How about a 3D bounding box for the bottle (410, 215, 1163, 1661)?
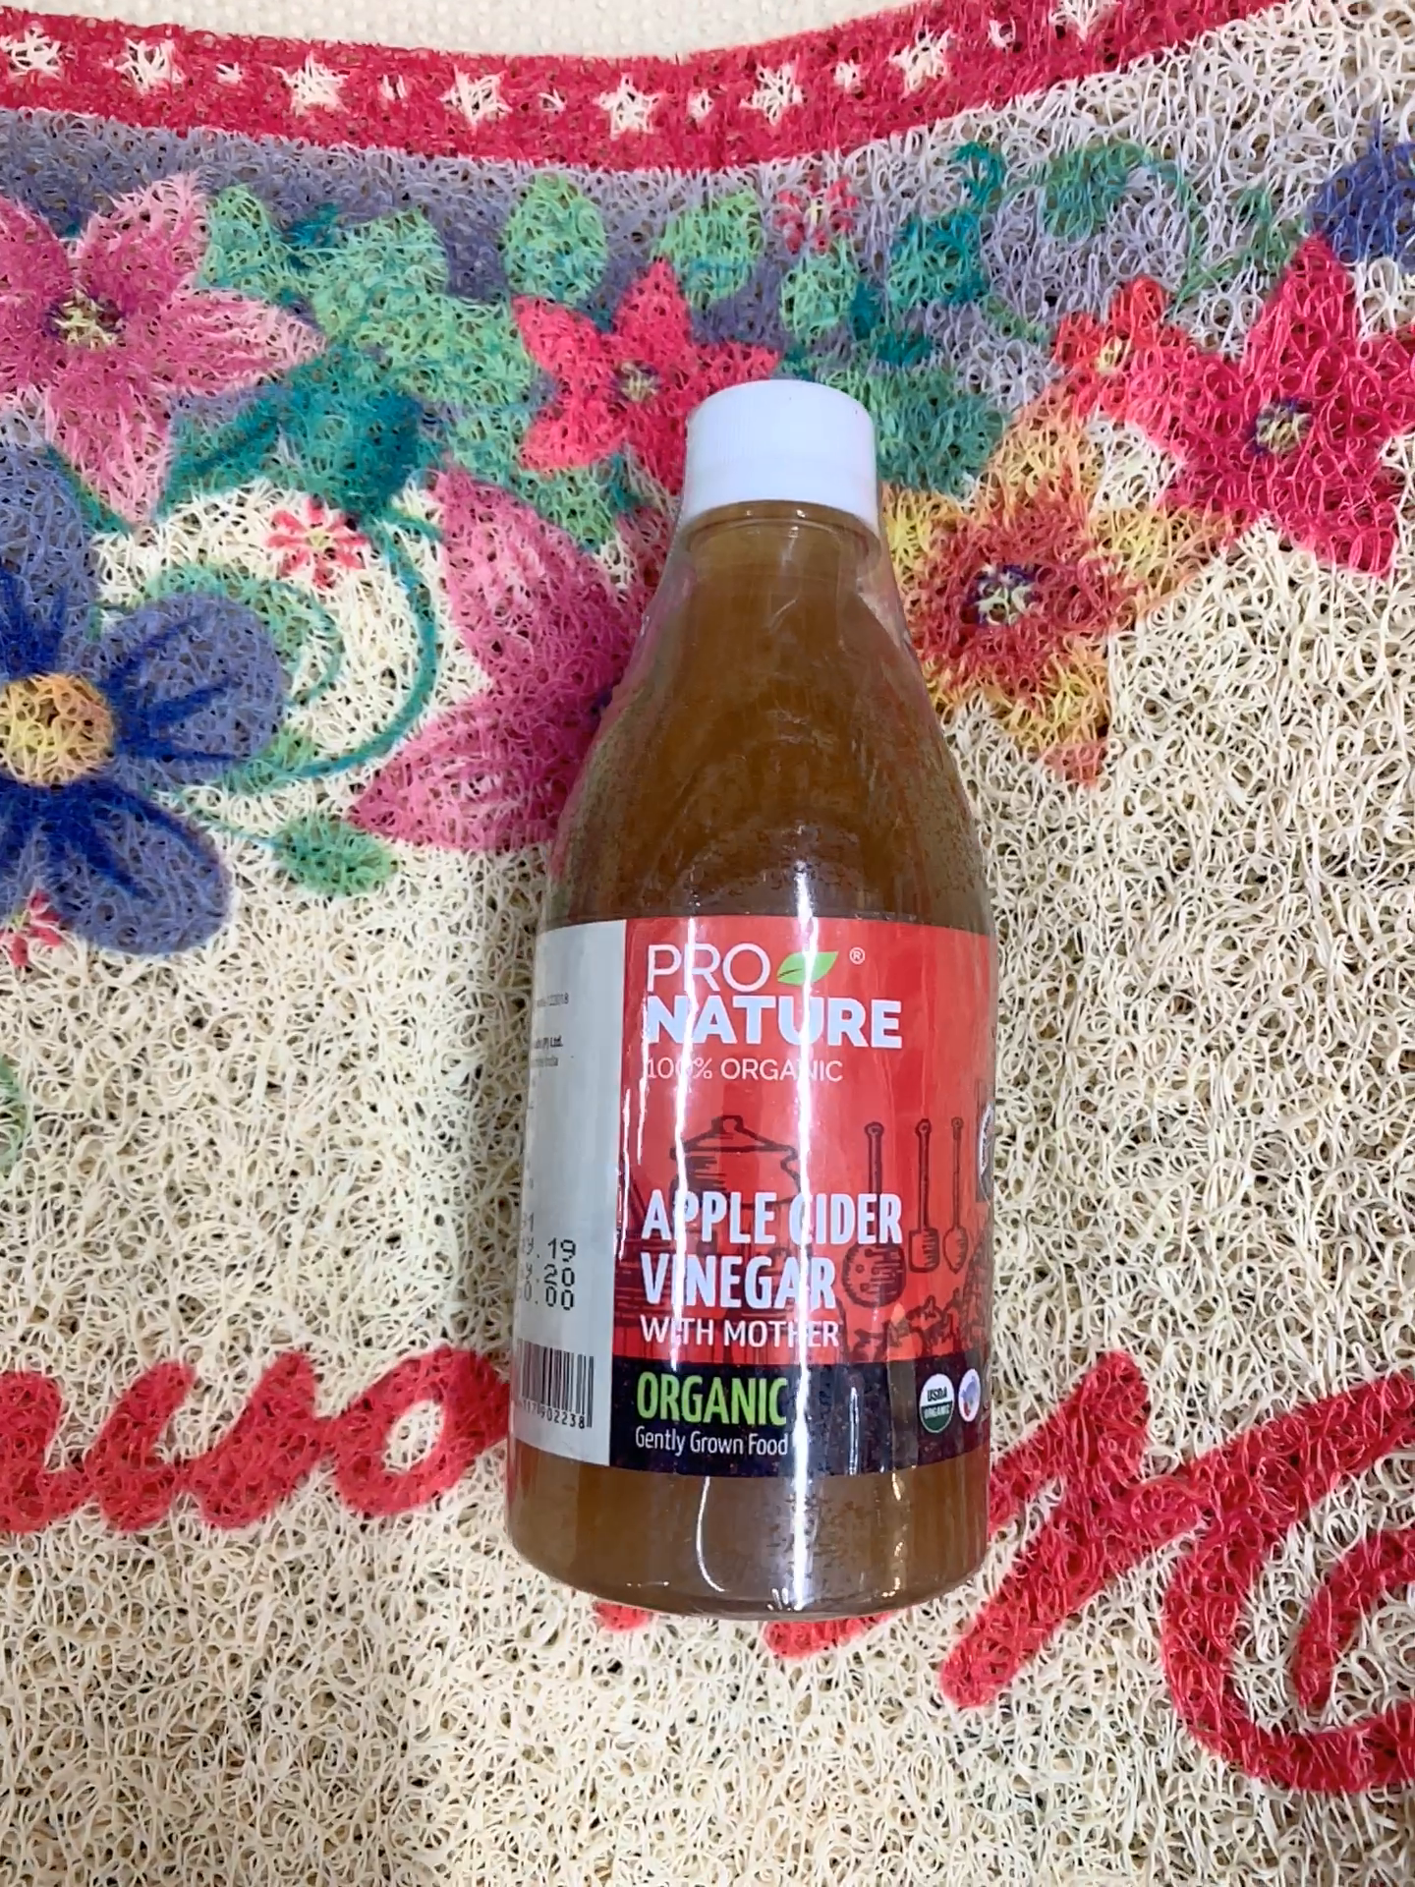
[{"bbox_3d":[0.007,0.001,0.191,0.080,0.050,0.160,2,91,-5],"label":"bottle"}]
